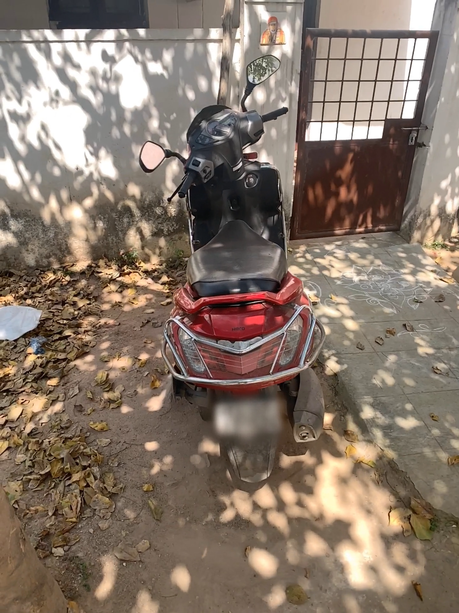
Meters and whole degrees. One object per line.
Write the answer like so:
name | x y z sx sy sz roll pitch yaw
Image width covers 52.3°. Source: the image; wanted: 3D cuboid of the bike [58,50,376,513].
bike | -0.192 -0.325 2.061 0.735 1.155 1.768 -5 35 -9
